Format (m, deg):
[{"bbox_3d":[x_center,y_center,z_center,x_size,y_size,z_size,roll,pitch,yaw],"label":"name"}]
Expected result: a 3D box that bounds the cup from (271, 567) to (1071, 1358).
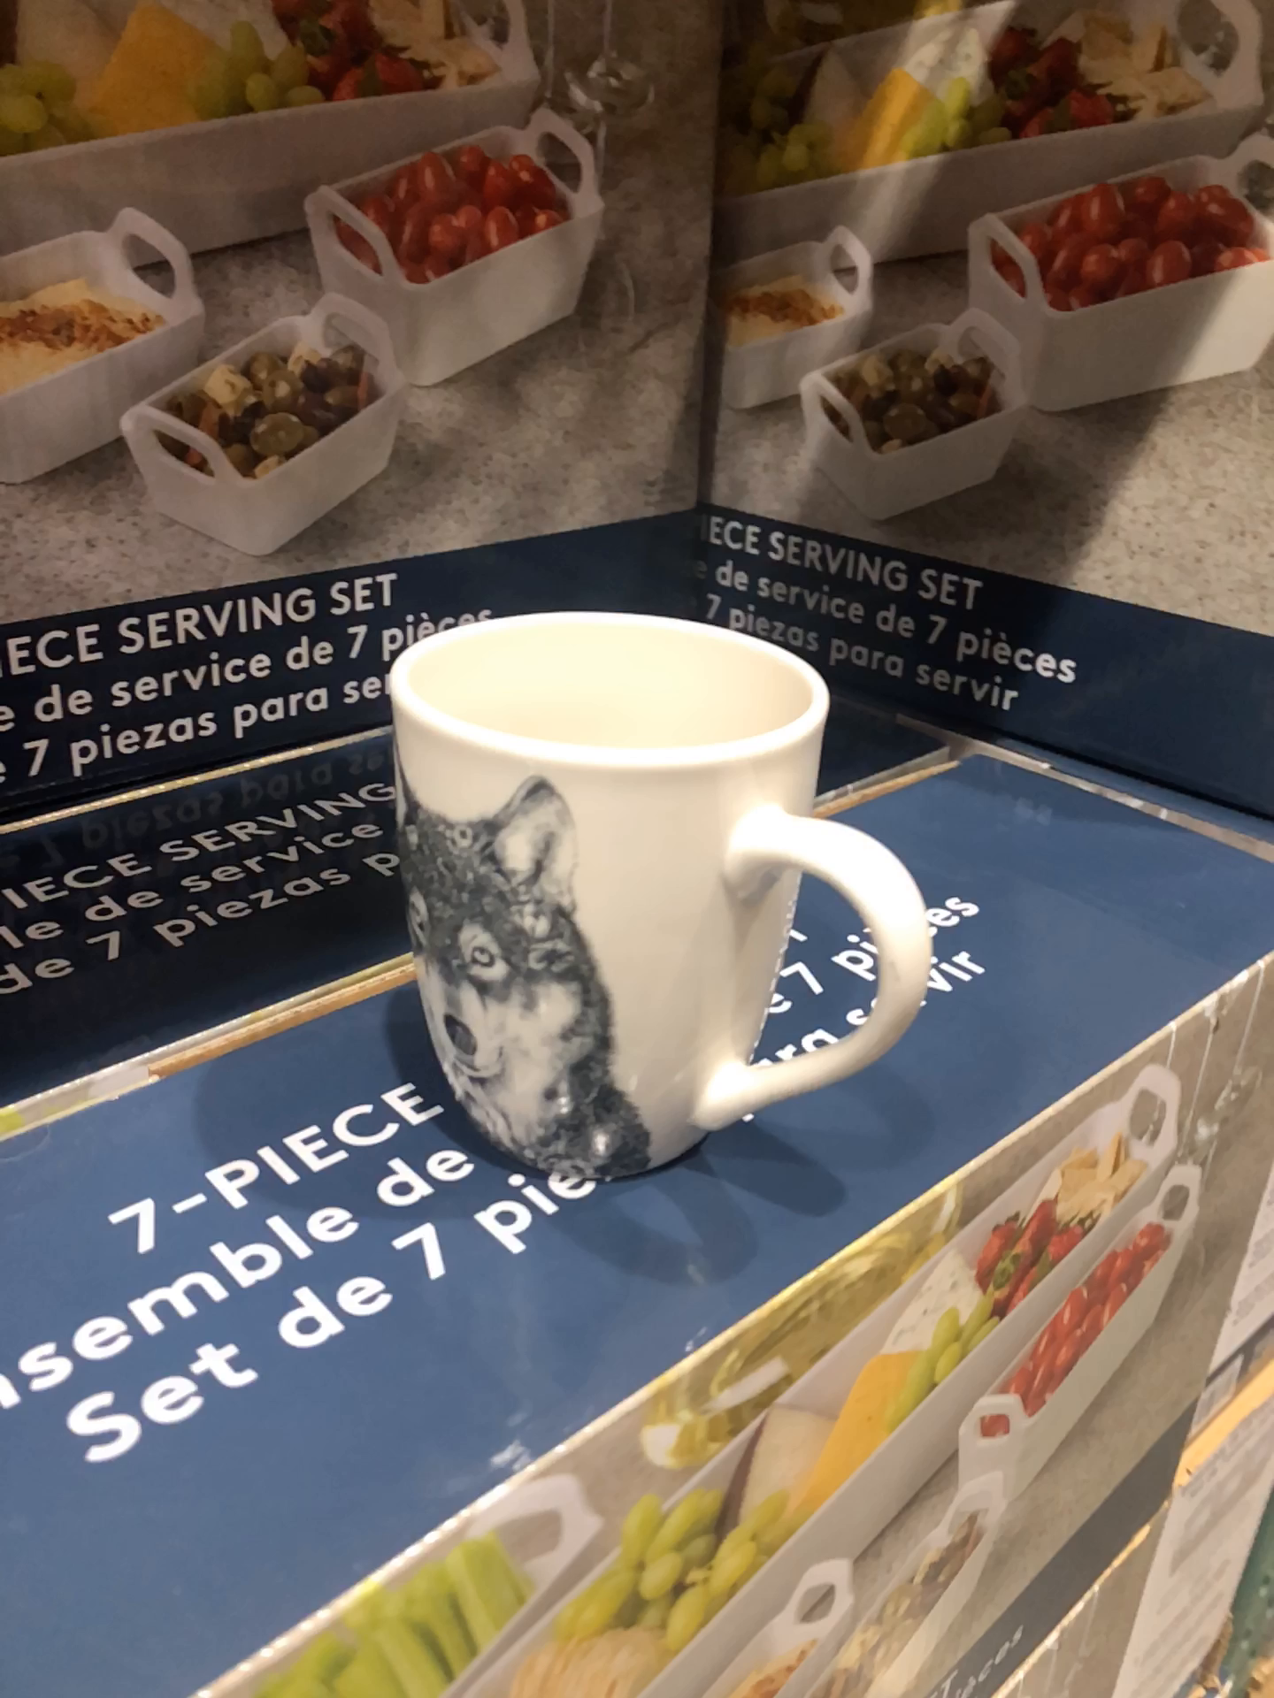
[{"bbox_3d":[0.003,0.010,0.297,0.128,0.102,0.093,23,32,39],"label":"cup"}]
